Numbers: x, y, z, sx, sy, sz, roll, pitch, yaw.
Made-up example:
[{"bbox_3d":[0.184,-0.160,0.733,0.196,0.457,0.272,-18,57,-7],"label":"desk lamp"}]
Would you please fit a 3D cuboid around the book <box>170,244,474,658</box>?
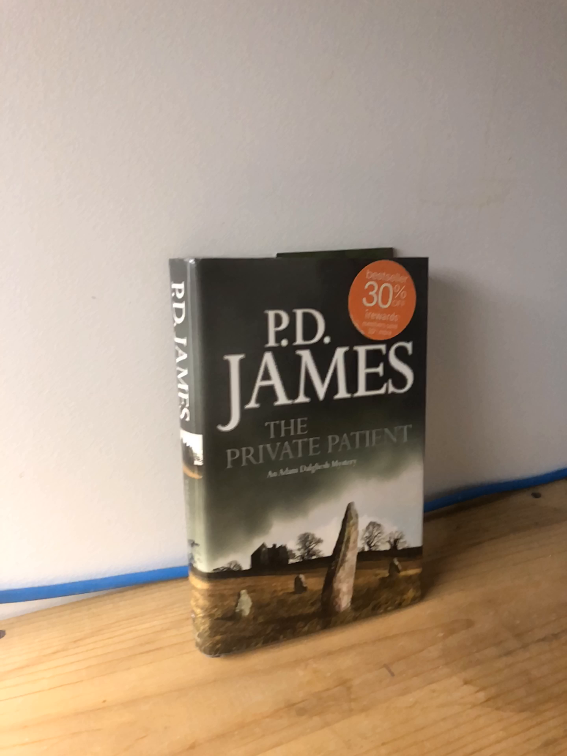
[{"bbox_3d":[0.030,0.037,0.390,0.180,0.229,0.040,-5,9,-19],"label":"book"}]
